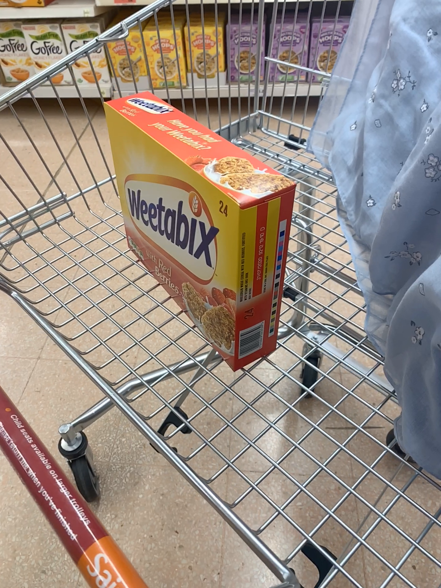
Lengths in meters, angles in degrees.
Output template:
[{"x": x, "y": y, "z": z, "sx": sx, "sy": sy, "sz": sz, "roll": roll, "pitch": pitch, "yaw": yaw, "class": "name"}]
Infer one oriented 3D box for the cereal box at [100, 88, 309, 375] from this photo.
[{"x": -0.031, "y": -0.074, "z": 0.477, "sx": 0.060, "sy": 0.188, "sz": 0.262, "roll": -24, "pitch": 49, "yaw": -24, "class": "cereal box"}]
